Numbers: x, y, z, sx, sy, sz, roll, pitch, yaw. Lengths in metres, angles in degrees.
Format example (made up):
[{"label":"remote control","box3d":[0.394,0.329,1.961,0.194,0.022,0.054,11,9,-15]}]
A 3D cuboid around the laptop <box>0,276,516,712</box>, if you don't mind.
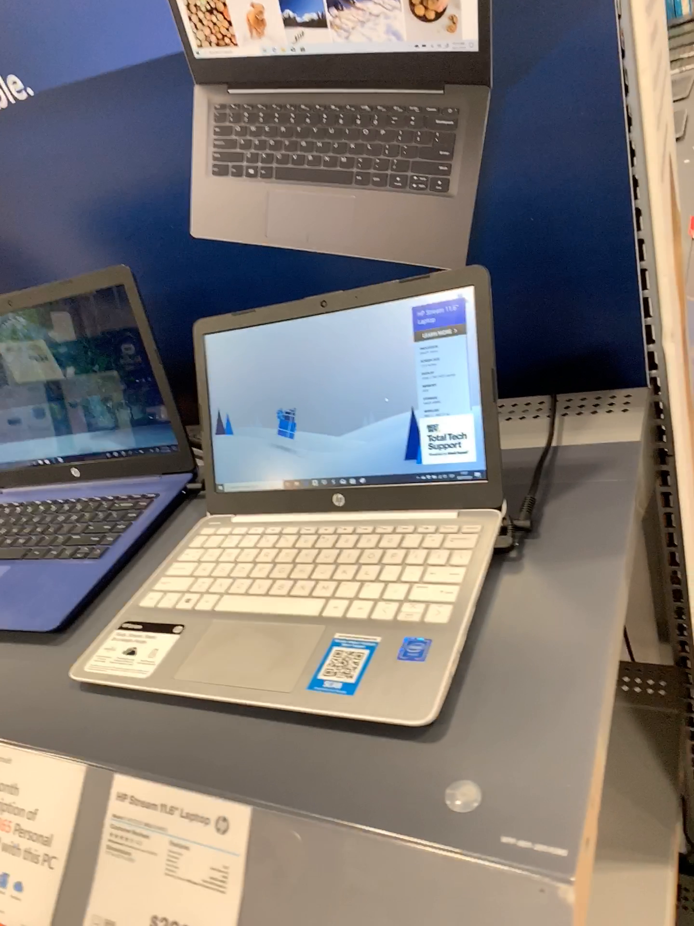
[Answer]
[{"label":"laptop","box3d":[-0.048,0.004,0.515,0.267,0.144,0.275,-3,33,26]}]
